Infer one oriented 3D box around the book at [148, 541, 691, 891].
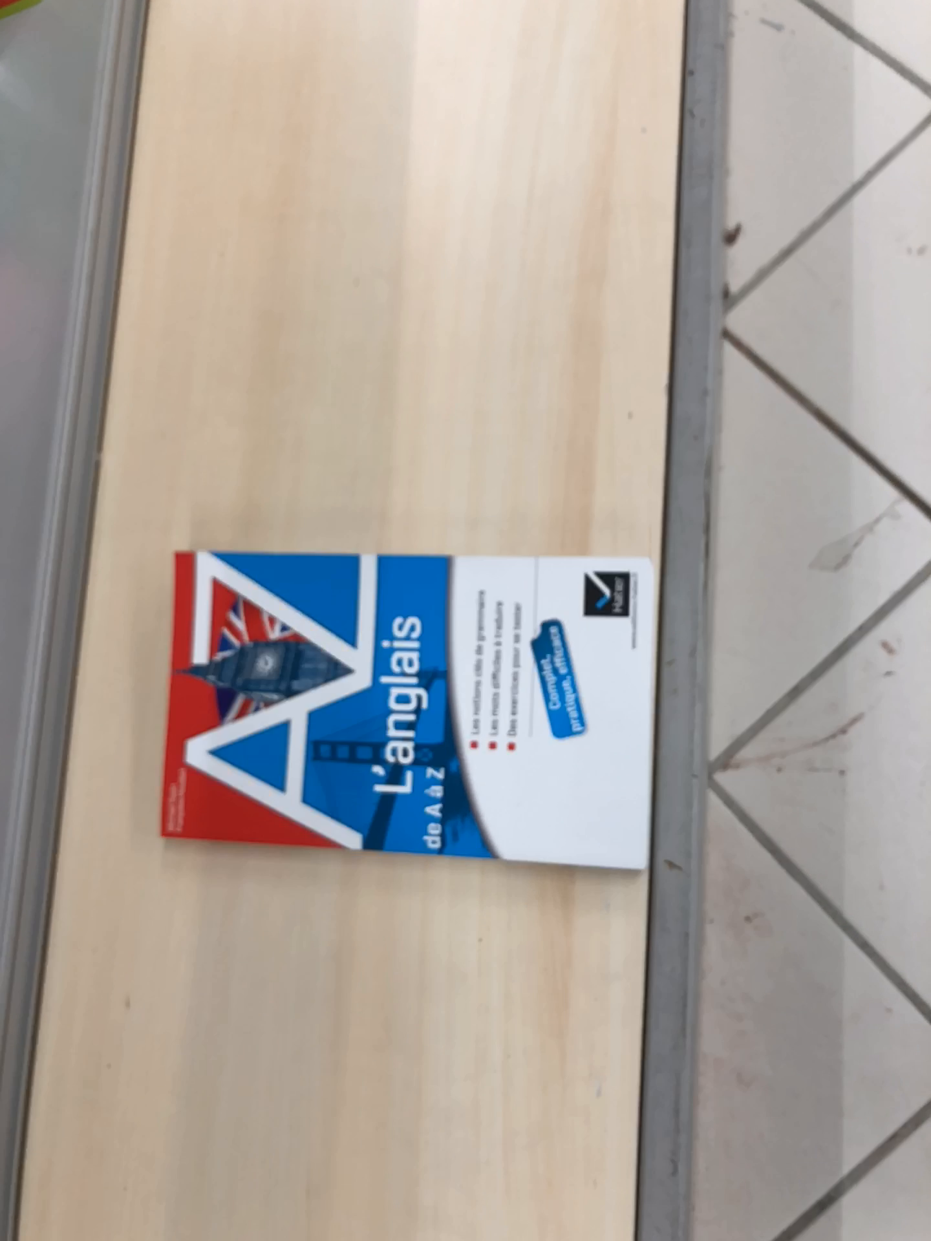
[{"bbox_3d":[-0.020,0.039,0.464,0.234,0.030,0.143,0,78,13],"label":"book"}]
